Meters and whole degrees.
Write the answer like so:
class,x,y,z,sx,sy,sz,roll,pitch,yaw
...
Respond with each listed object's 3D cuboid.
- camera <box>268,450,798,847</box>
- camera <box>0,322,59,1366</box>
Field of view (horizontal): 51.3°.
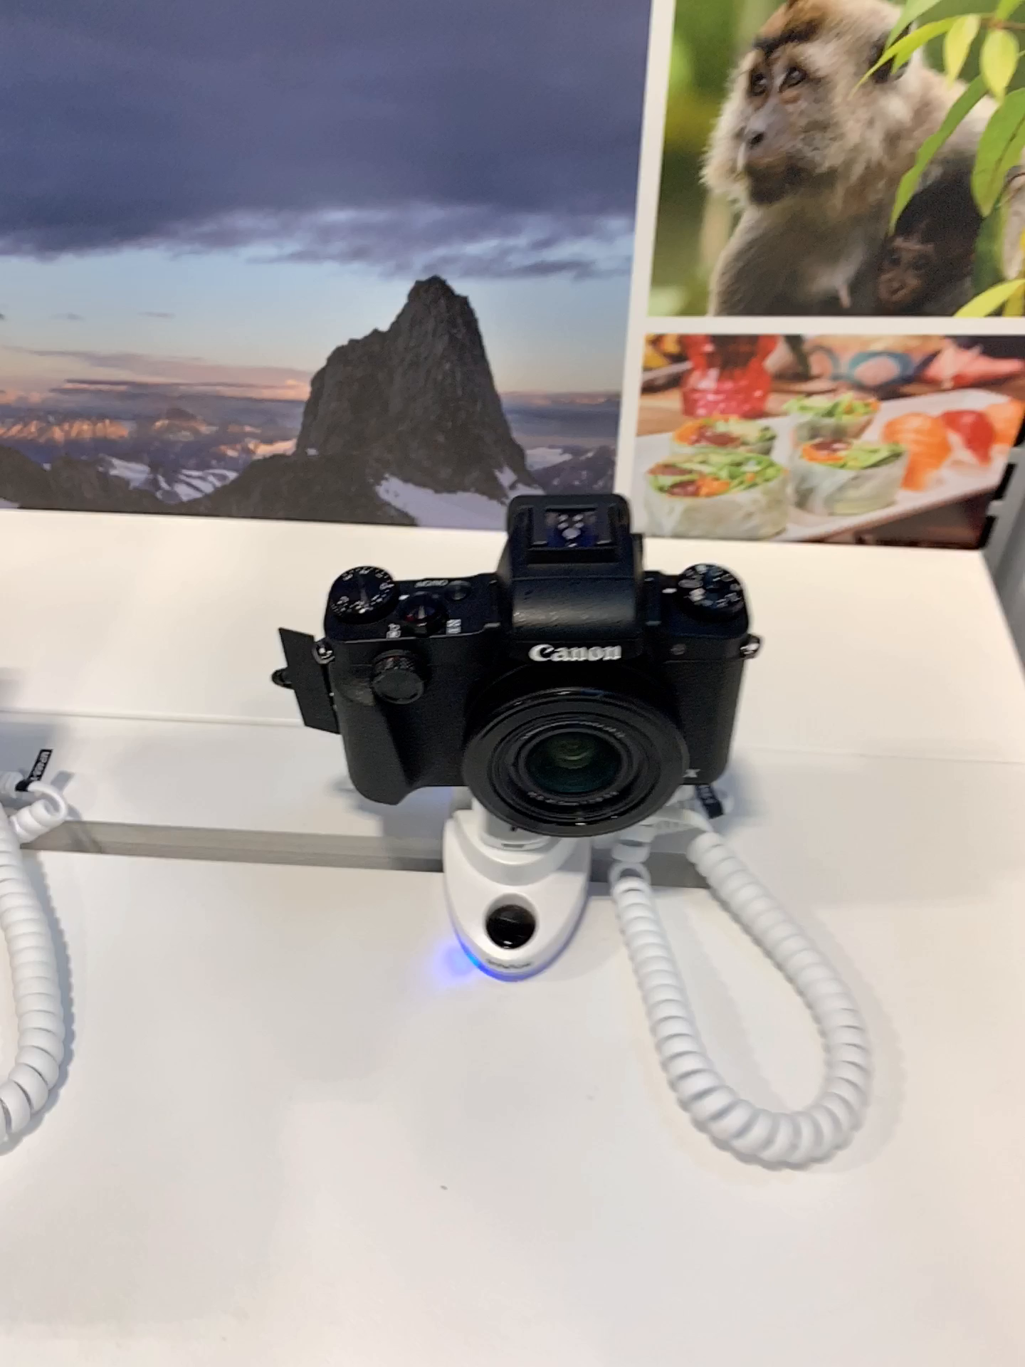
class,x,y,z,sx,sy,sz,roll,pitch,yaw
camera,0.005,-0.008,0.294,0.120,0.090,0.060,-1,44,0
camera,-0.241,0.018,0.250,0.160,0.109,0.221,1,44,3
